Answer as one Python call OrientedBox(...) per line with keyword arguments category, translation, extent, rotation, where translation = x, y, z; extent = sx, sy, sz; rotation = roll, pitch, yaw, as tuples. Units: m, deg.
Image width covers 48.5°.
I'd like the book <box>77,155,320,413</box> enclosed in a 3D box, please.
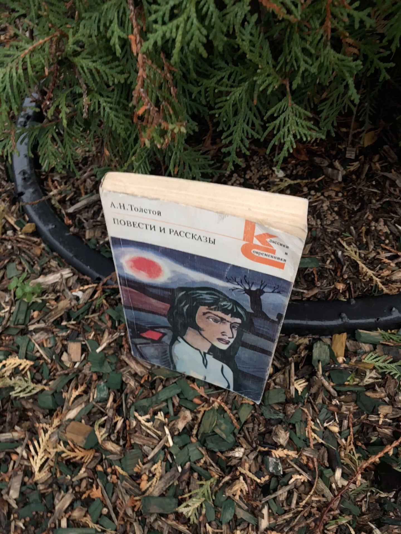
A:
OrientedBox(category="book", translation=(0.001, 0.025, 0.323), extent=(0.130, 0.196, 0.041), rotation=(16, 52, 16))
